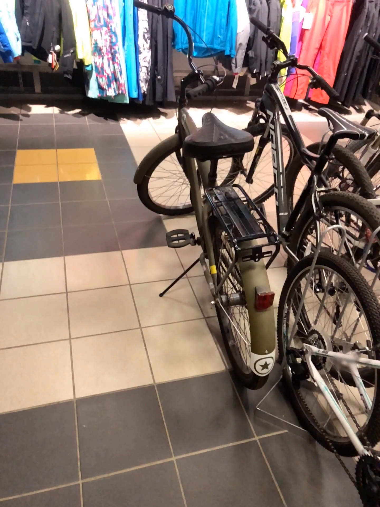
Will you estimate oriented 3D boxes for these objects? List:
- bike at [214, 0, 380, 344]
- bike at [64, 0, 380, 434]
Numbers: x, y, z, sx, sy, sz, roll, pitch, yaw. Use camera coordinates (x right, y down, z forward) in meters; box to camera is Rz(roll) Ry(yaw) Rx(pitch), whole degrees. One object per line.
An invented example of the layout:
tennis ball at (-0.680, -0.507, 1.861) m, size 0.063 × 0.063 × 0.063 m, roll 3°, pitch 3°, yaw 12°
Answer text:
bike at (0.516, -0.505, 1.955) m, size 0.663 × 1.227 × 0.979 m, roll 2°, pitch 42°, yaw -6°
bike at (0.192, -0.353, 1.701) m, size 0.831 × 1.130 × 1.505 m, roll 5°, pitch 38°, yaw -2°
